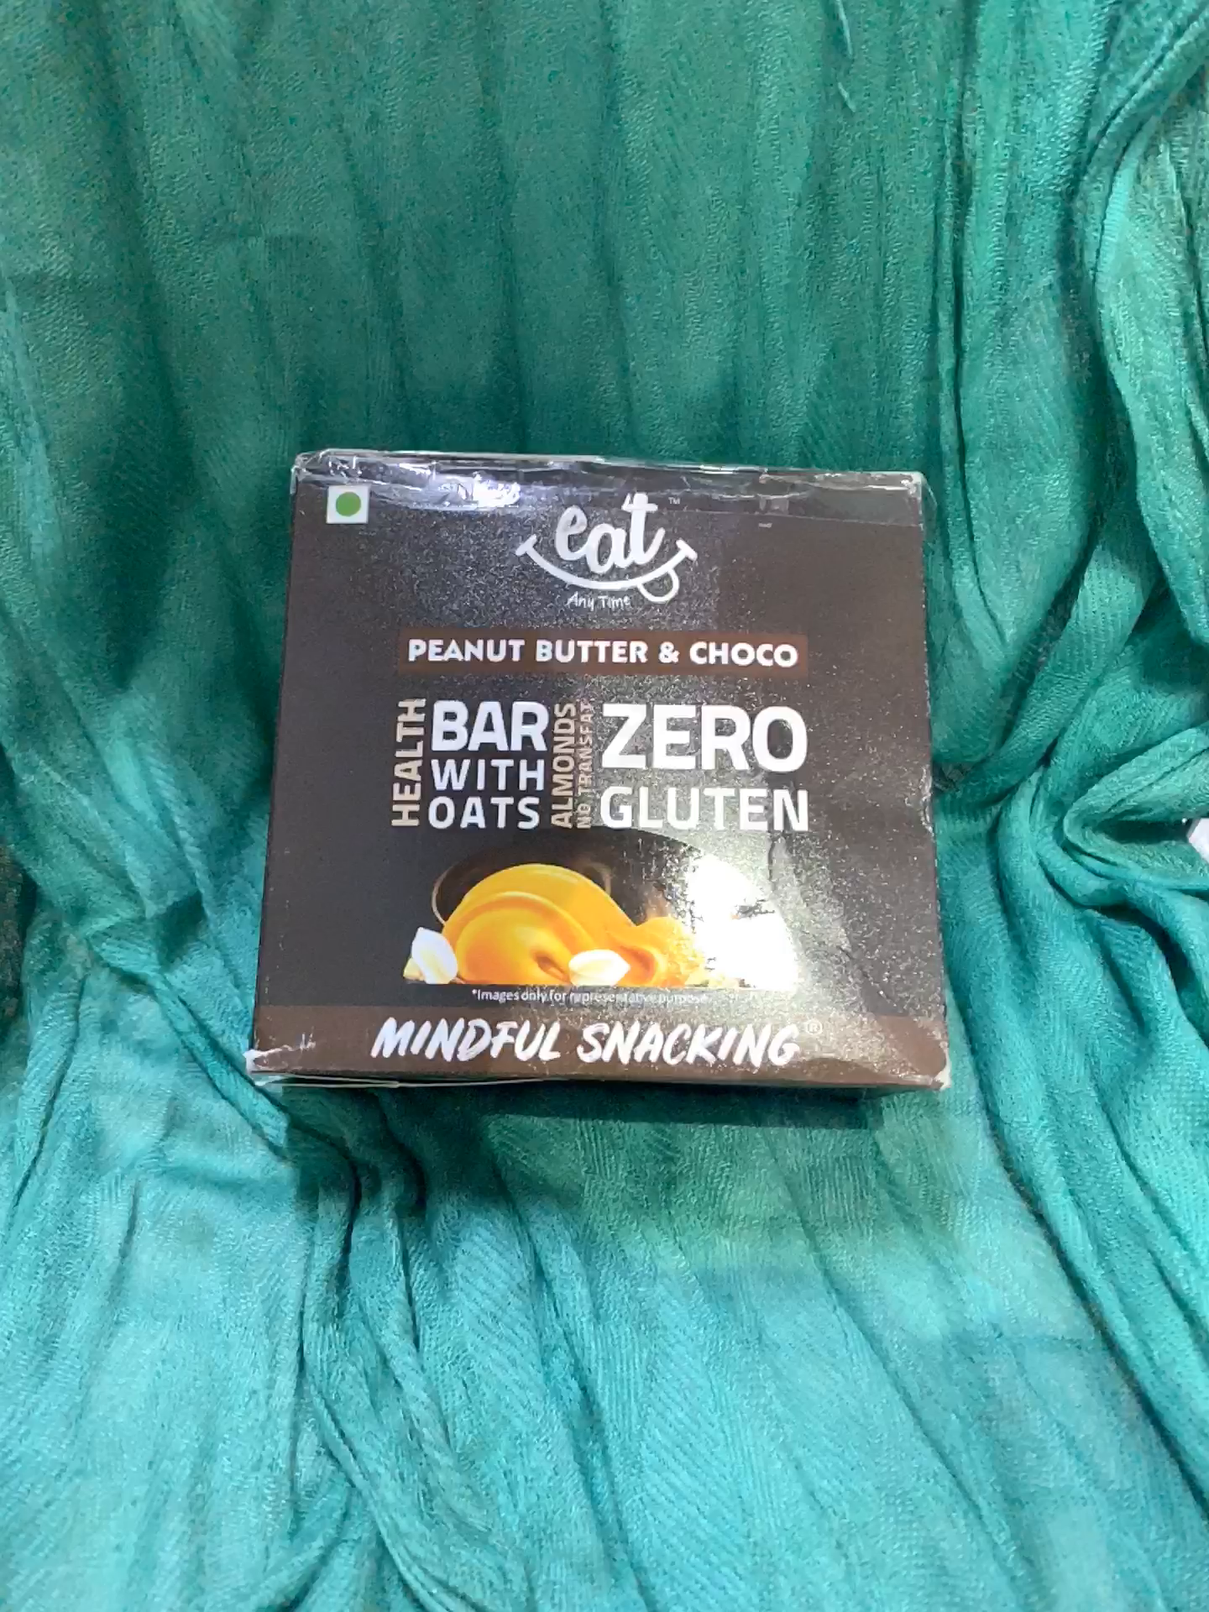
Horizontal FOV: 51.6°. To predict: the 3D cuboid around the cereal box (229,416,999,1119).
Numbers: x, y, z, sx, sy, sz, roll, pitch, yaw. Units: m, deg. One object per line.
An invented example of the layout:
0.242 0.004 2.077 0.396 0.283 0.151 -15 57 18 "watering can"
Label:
0.005 -0.003 0.290 0.140 0.090 0.140 1 74 3 "cereal box"
